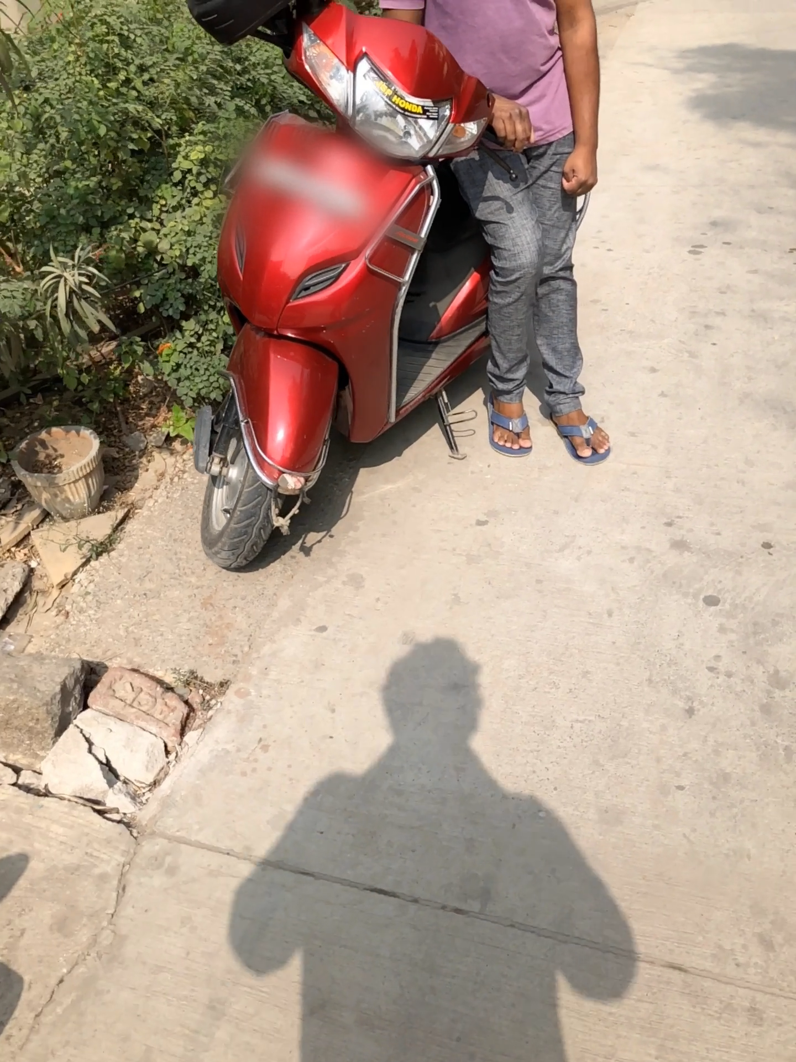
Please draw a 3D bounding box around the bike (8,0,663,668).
[{"bbox_3d":[0.072,-0.696,2.154,0.621,1.157,1.593,14,43,24],"label":"bike"}]
